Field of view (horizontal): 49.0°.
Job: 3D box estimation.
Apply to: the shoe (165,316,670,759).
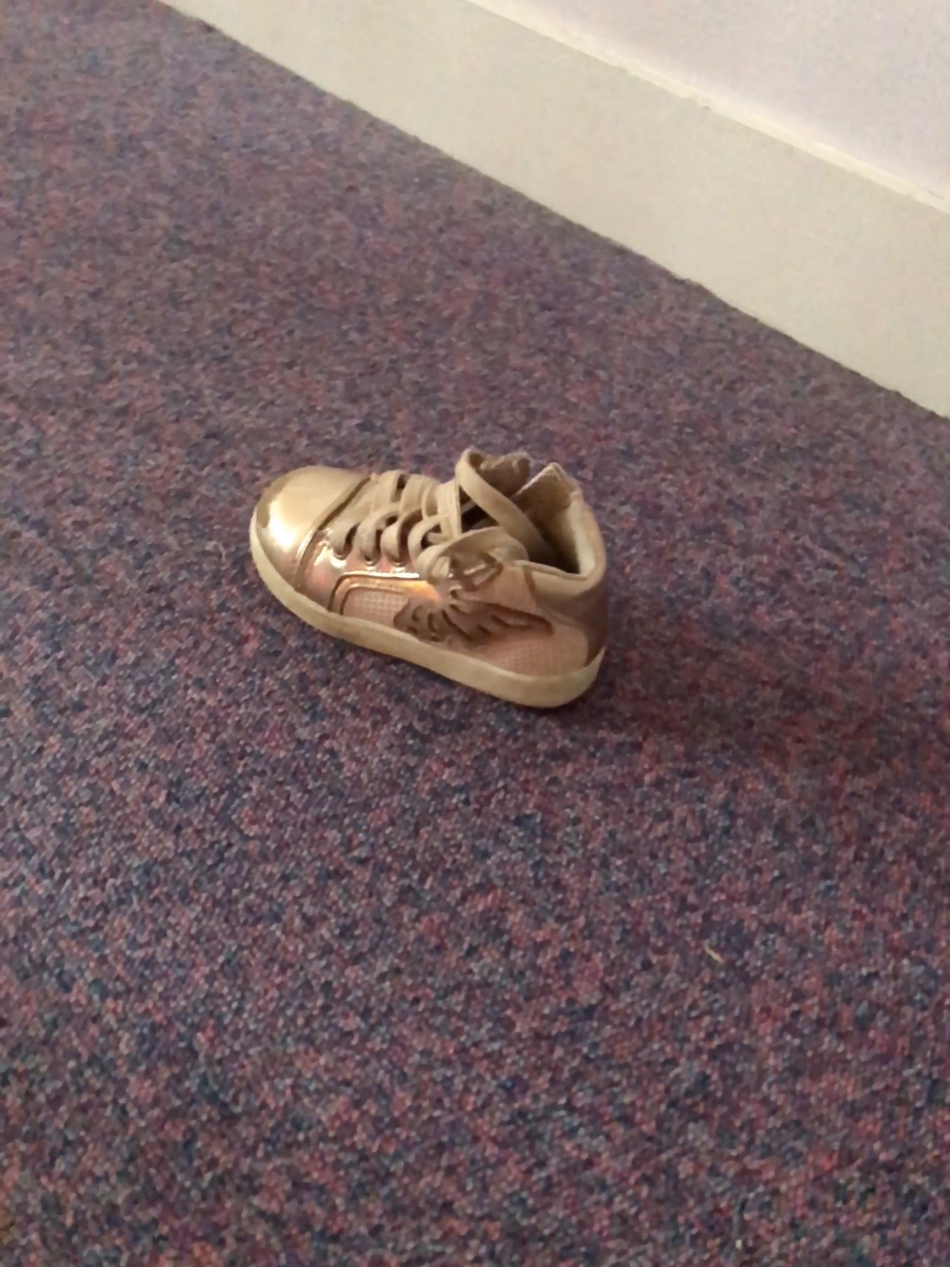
[{"bbox_3d":[-0.021,-0.038,0.382,0.150,0.080,0.080,25,54,16],"label":"shoe"}]
